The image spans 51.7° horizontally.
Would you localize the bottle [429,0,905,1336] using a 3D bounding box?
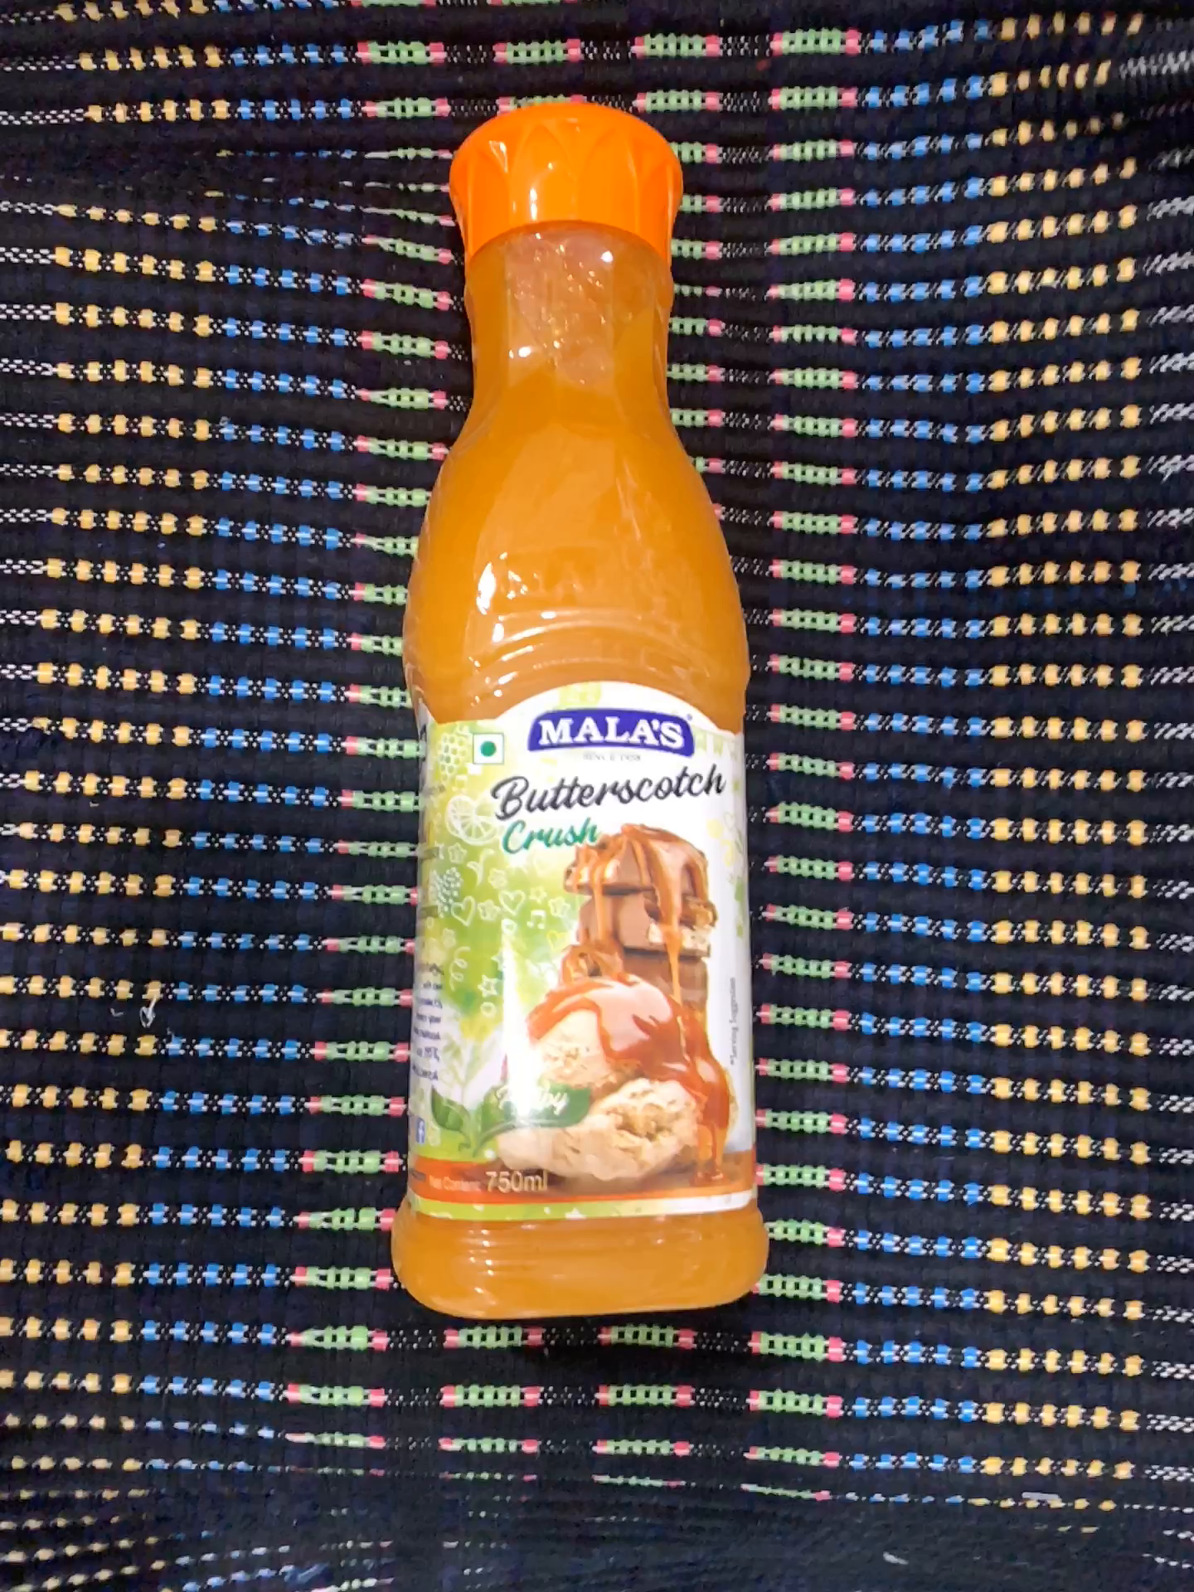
[{"bbox_3d":[0.006,-0.036,0.239,0.070,0.060,0.250,1,76,-8],"label":"bottle"}]
